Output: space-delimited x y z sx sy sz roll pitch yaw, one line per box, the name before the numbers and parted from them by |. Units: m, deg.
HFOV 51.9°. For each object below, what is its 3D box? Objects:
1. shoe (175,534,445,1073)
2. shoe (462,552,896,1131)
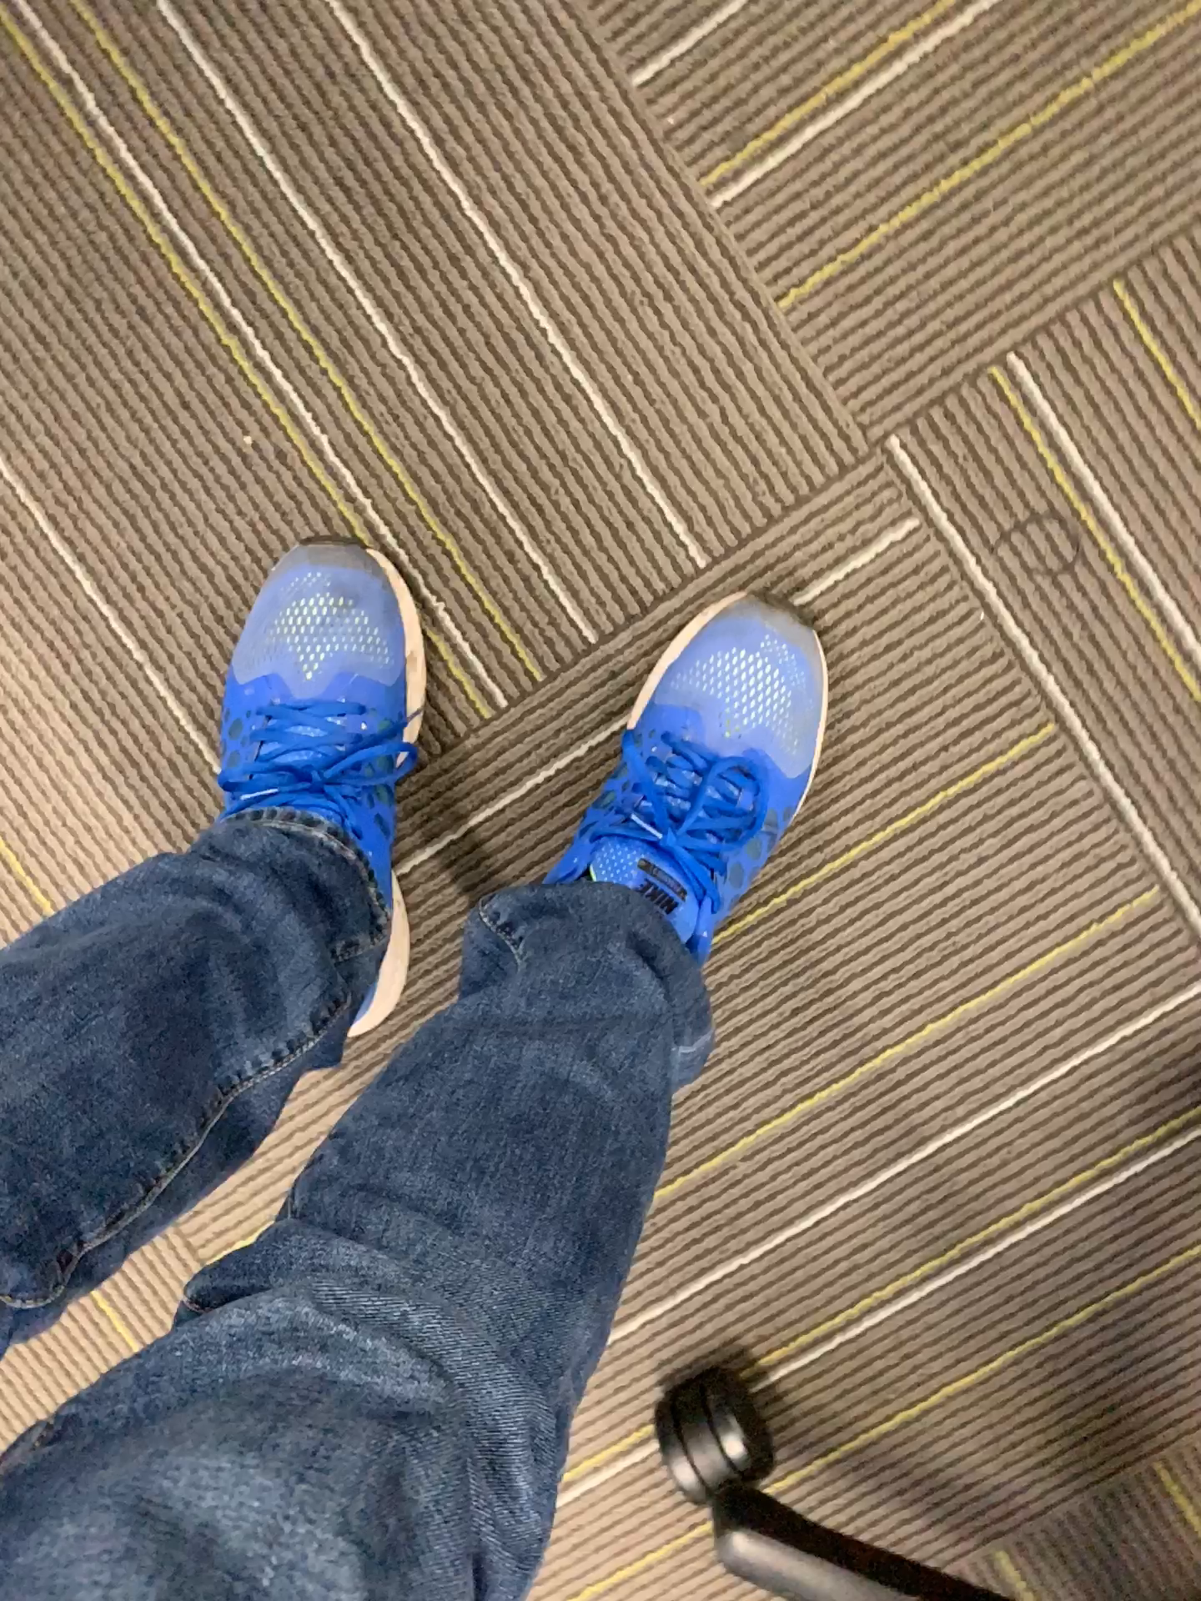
shoe | -0.172 0.001 0.737 0.125 0.077 0.298 6 99 3
shoe | 0.042 0.023 0.720 0.128 0.077 0.300 24 99 0
